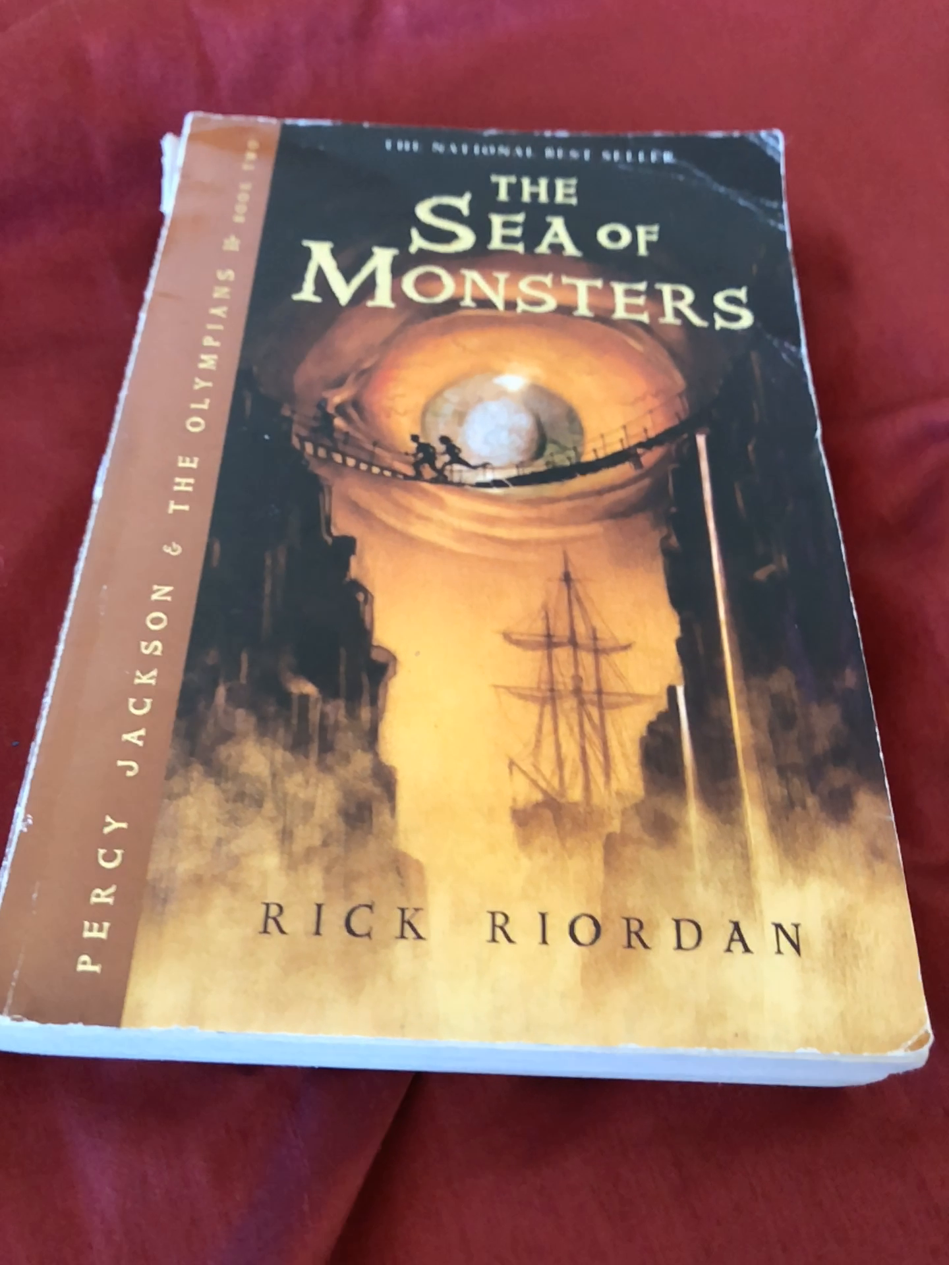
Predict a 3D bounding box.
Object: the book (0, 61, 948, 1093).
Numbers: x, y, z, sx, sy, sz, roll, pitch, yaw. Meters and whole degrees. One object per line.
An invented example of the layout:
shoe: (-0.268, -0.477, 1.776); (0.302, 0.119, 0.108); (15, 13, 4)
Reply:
book: (-0.002, -0.026, 0.197); (0.144, 0.030, 0.197); (3, 61, -1)
